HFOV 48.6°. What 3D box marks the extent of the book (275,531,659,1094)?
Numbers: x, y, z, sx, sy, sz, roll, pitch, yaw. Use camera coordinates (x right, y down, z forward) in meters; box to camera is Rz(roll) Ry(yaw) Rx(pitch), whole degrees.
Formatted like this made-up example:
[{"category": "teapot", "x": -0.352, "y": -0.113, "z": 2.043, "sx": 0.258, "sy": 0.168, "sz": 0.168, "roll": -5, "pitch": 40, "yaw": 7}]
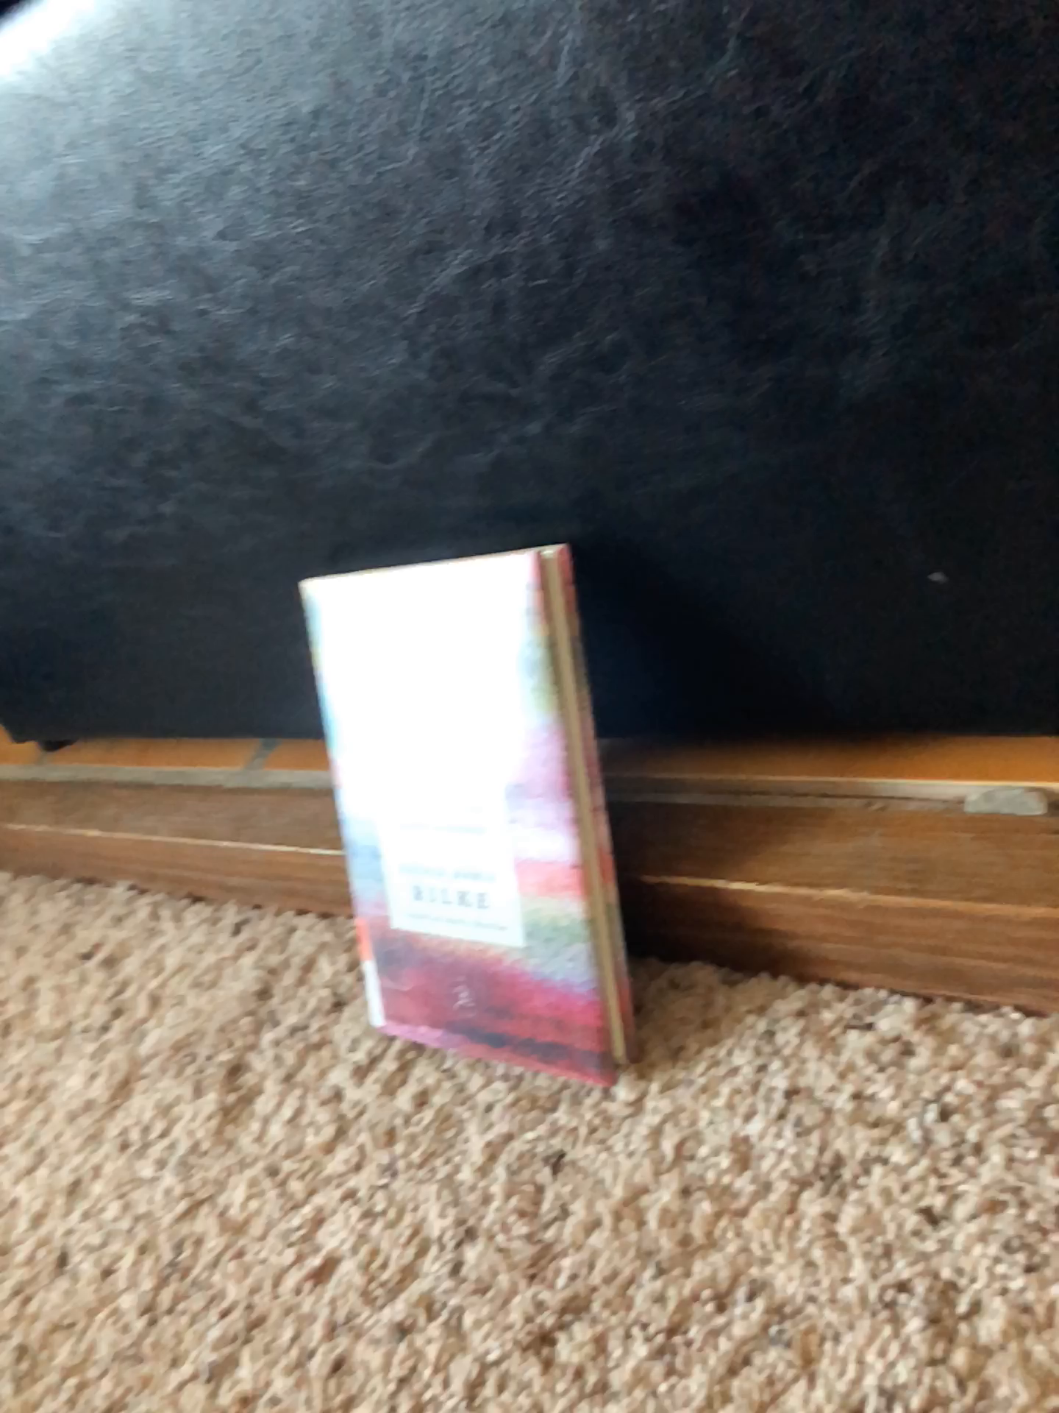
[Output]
[{"category": "book", "x": -0.026, "y": 0.037, "z": 0.442, "sx": 0.136, "sy": 0.190, "sz": 0.030, "roll": 0, "pitch": 11, "yaw": 39}]
